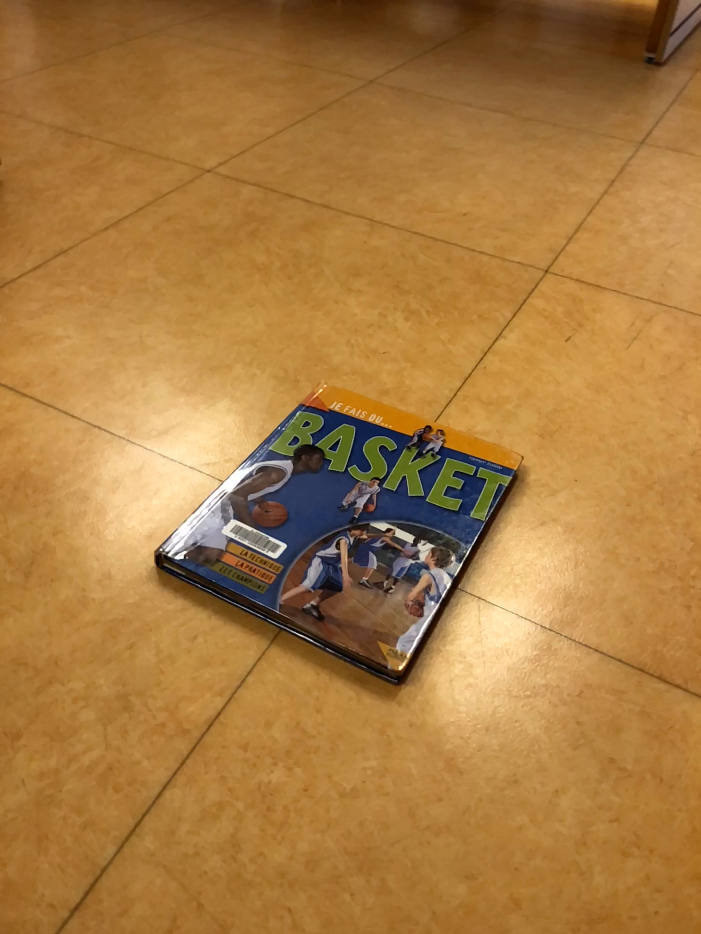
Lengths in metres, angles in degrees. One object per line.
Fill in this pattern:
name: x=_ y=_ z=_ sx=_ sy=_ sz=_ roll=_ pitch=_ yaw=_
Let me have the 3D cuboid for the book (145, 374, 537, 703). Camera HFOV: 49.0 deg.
book: x=0.006 y=0.032 z=0.607 sx=0.210 sy=0.020 sz=0.258 roll=22 pitch=46 yaw=18
